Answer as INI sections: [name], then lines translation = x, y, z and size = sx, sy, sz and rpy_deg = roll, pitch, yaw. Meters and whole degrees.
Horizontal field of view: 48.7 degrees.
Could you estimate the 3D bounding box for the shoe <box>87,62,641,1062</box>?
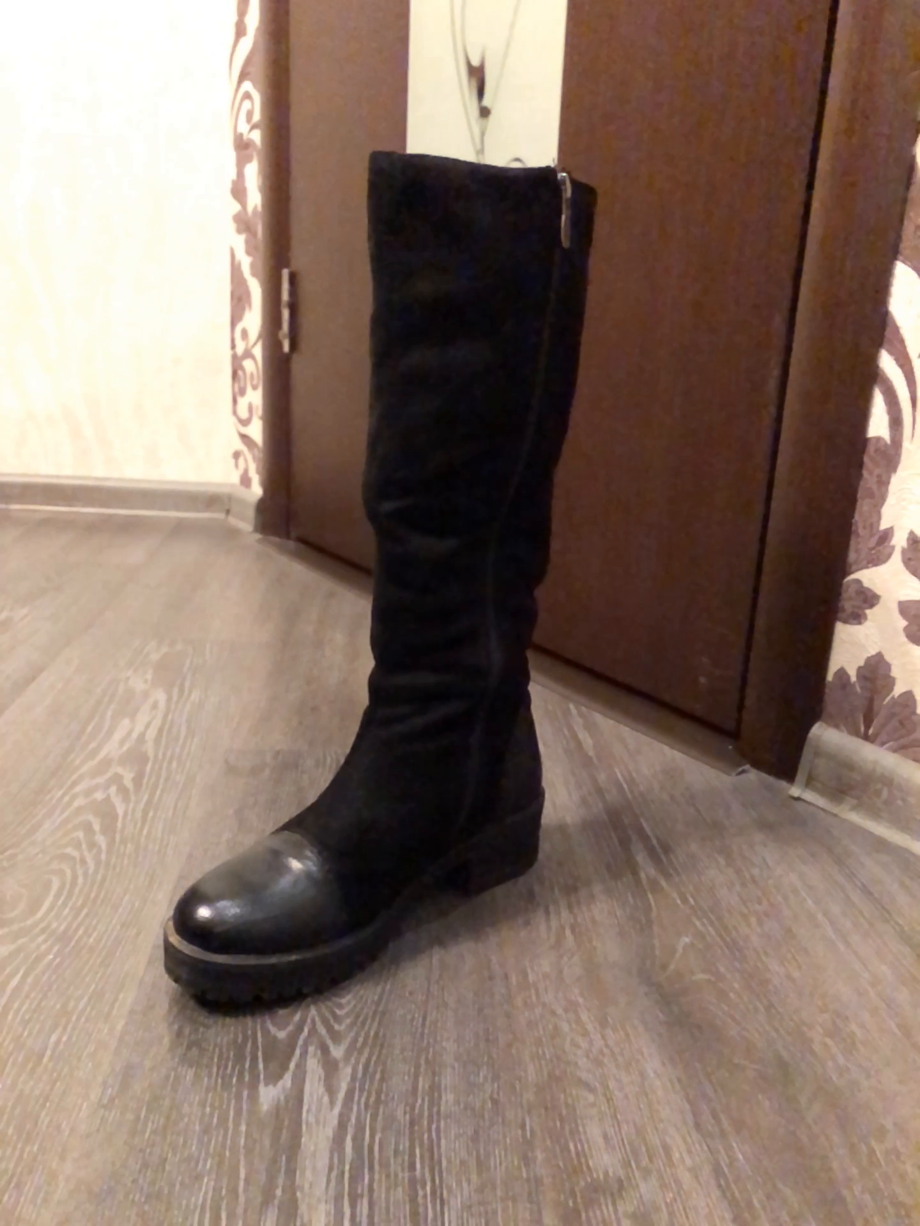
[shoe]
translation = -0.038, -0.027, 0.524
size = 0.100, 0.408, 0.251
rpy_deg = 17, 22, 41
